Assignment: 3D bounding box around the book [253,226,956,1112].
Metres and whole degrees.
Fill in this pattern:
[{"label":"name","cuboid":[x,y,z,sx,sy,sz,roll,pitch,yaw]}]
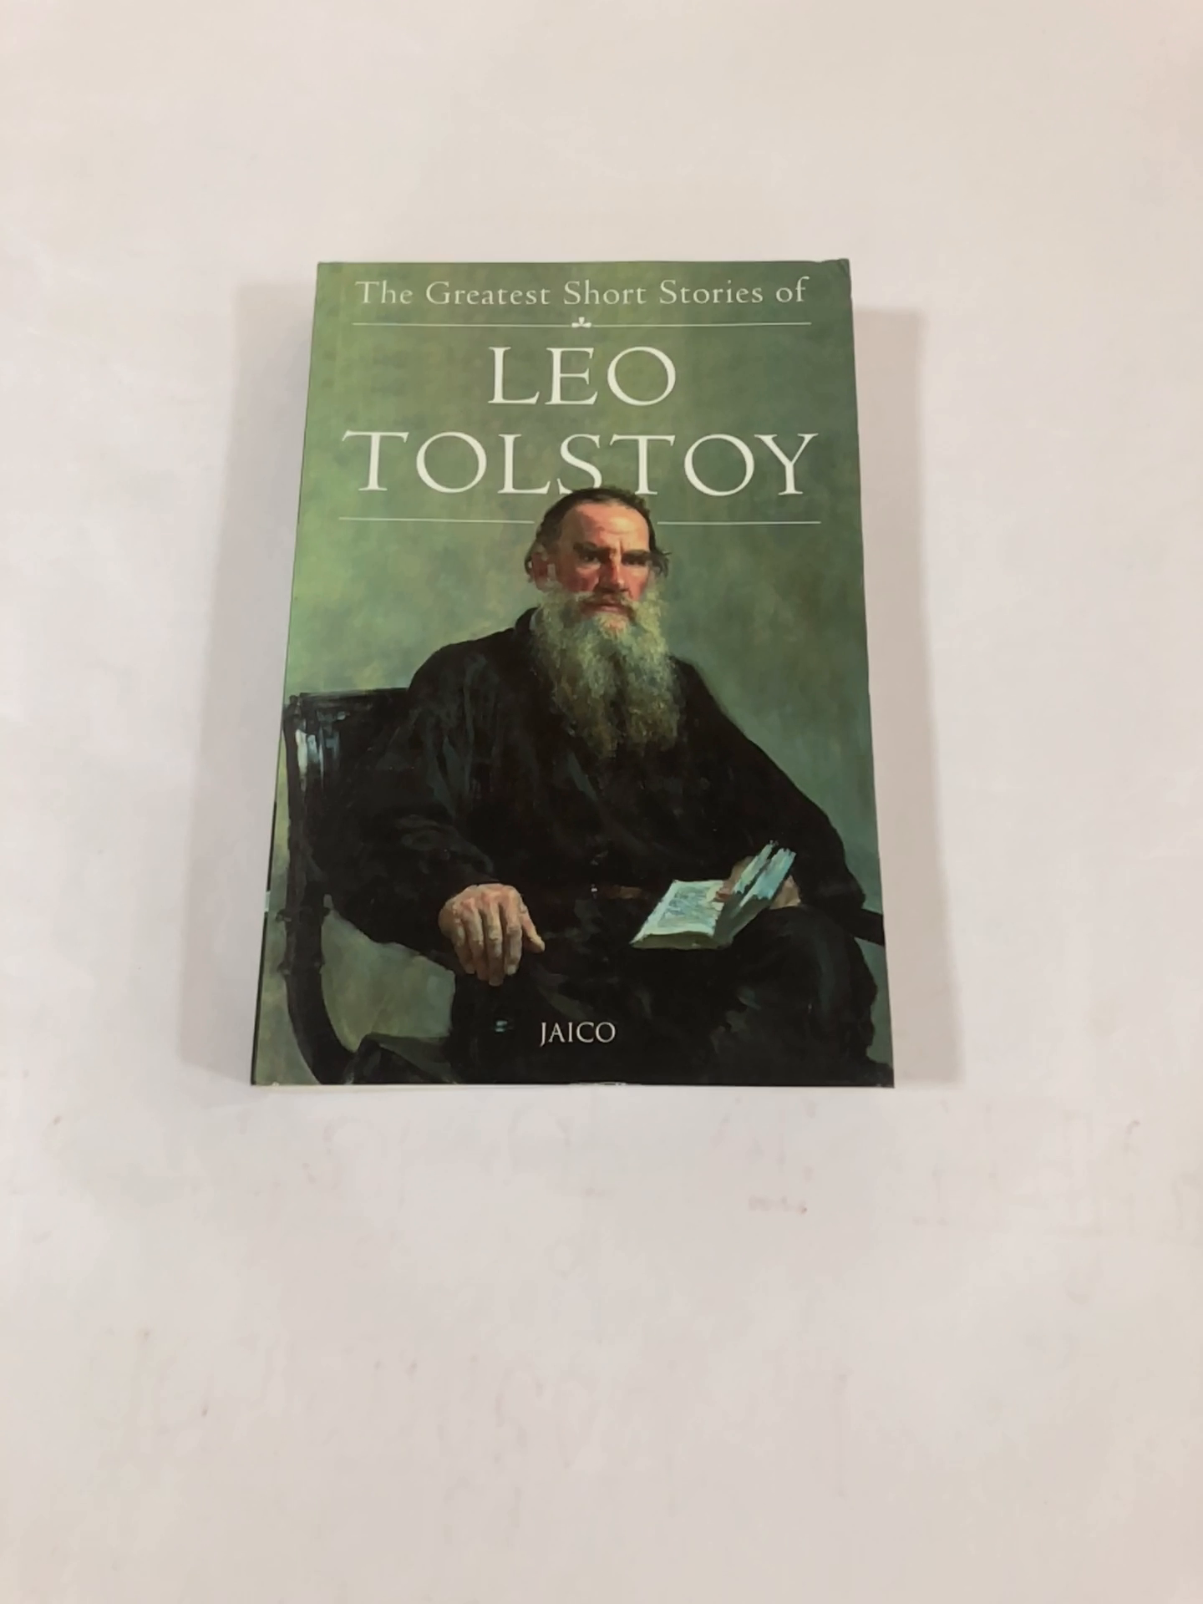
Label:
[{"label":"book","cuboid":[0.000,-0.042,0.332,0.150,0.020,0.230,0,71,-1]}]
